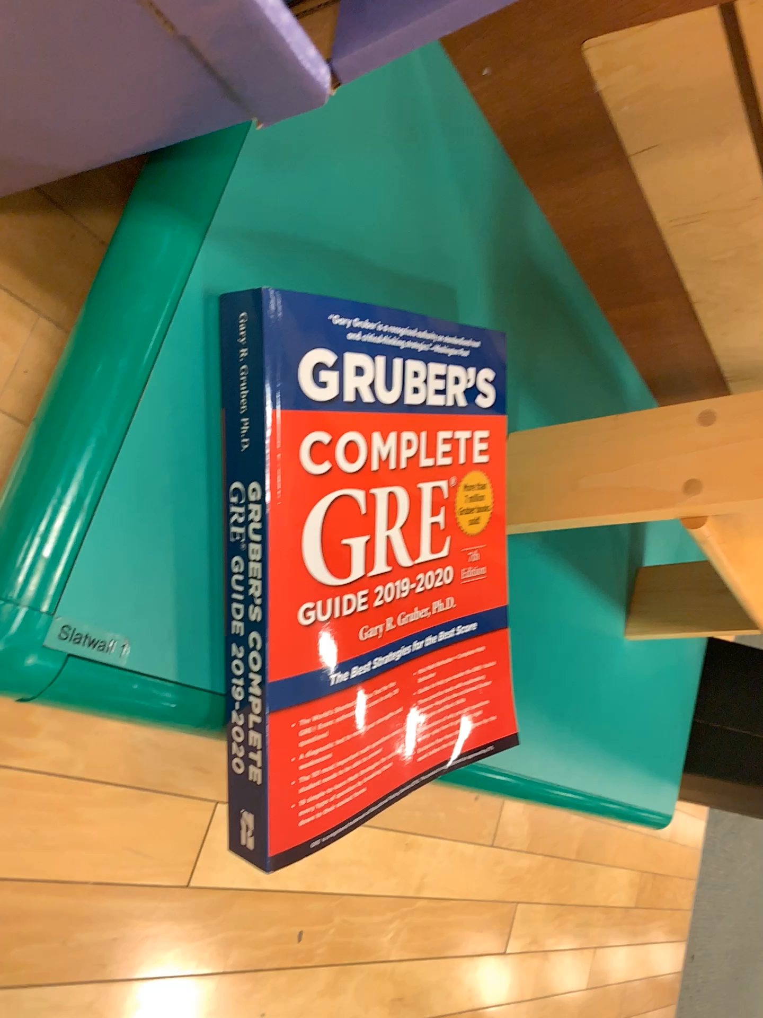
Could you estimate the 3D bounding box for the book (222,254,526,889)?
[{"bbox_3d":[0.008,0.025,0.452,0.221,0.040,0.290,-7,100,-52],"label":"book"}]
